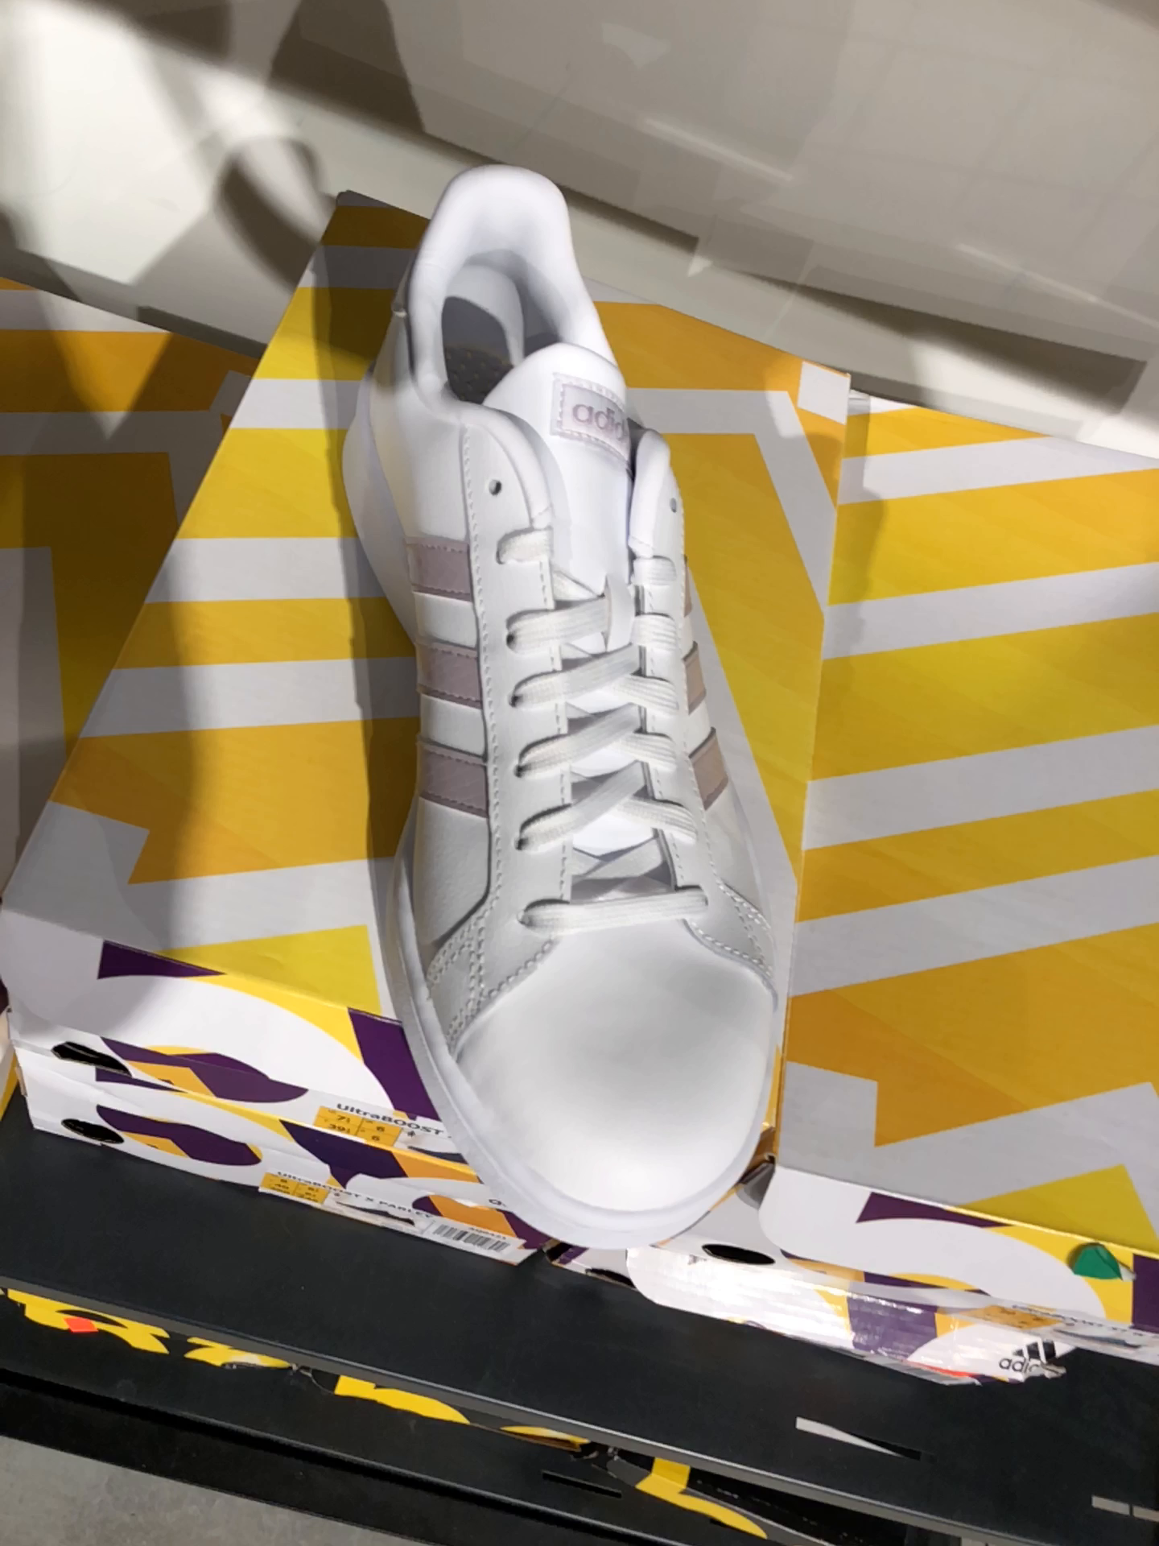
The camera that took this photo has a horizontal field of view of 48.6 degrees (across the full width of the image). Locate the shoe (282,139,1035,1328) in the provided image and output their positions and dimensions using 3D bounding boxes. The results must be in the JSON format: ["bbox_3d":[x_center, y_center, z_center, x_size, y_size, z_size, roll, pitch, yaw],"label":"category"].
[{"bbox_3d":[-0.004,-0.025,0.337,0.110,0.090,0.290,-3,61,-20],"label":"shoe"}]
